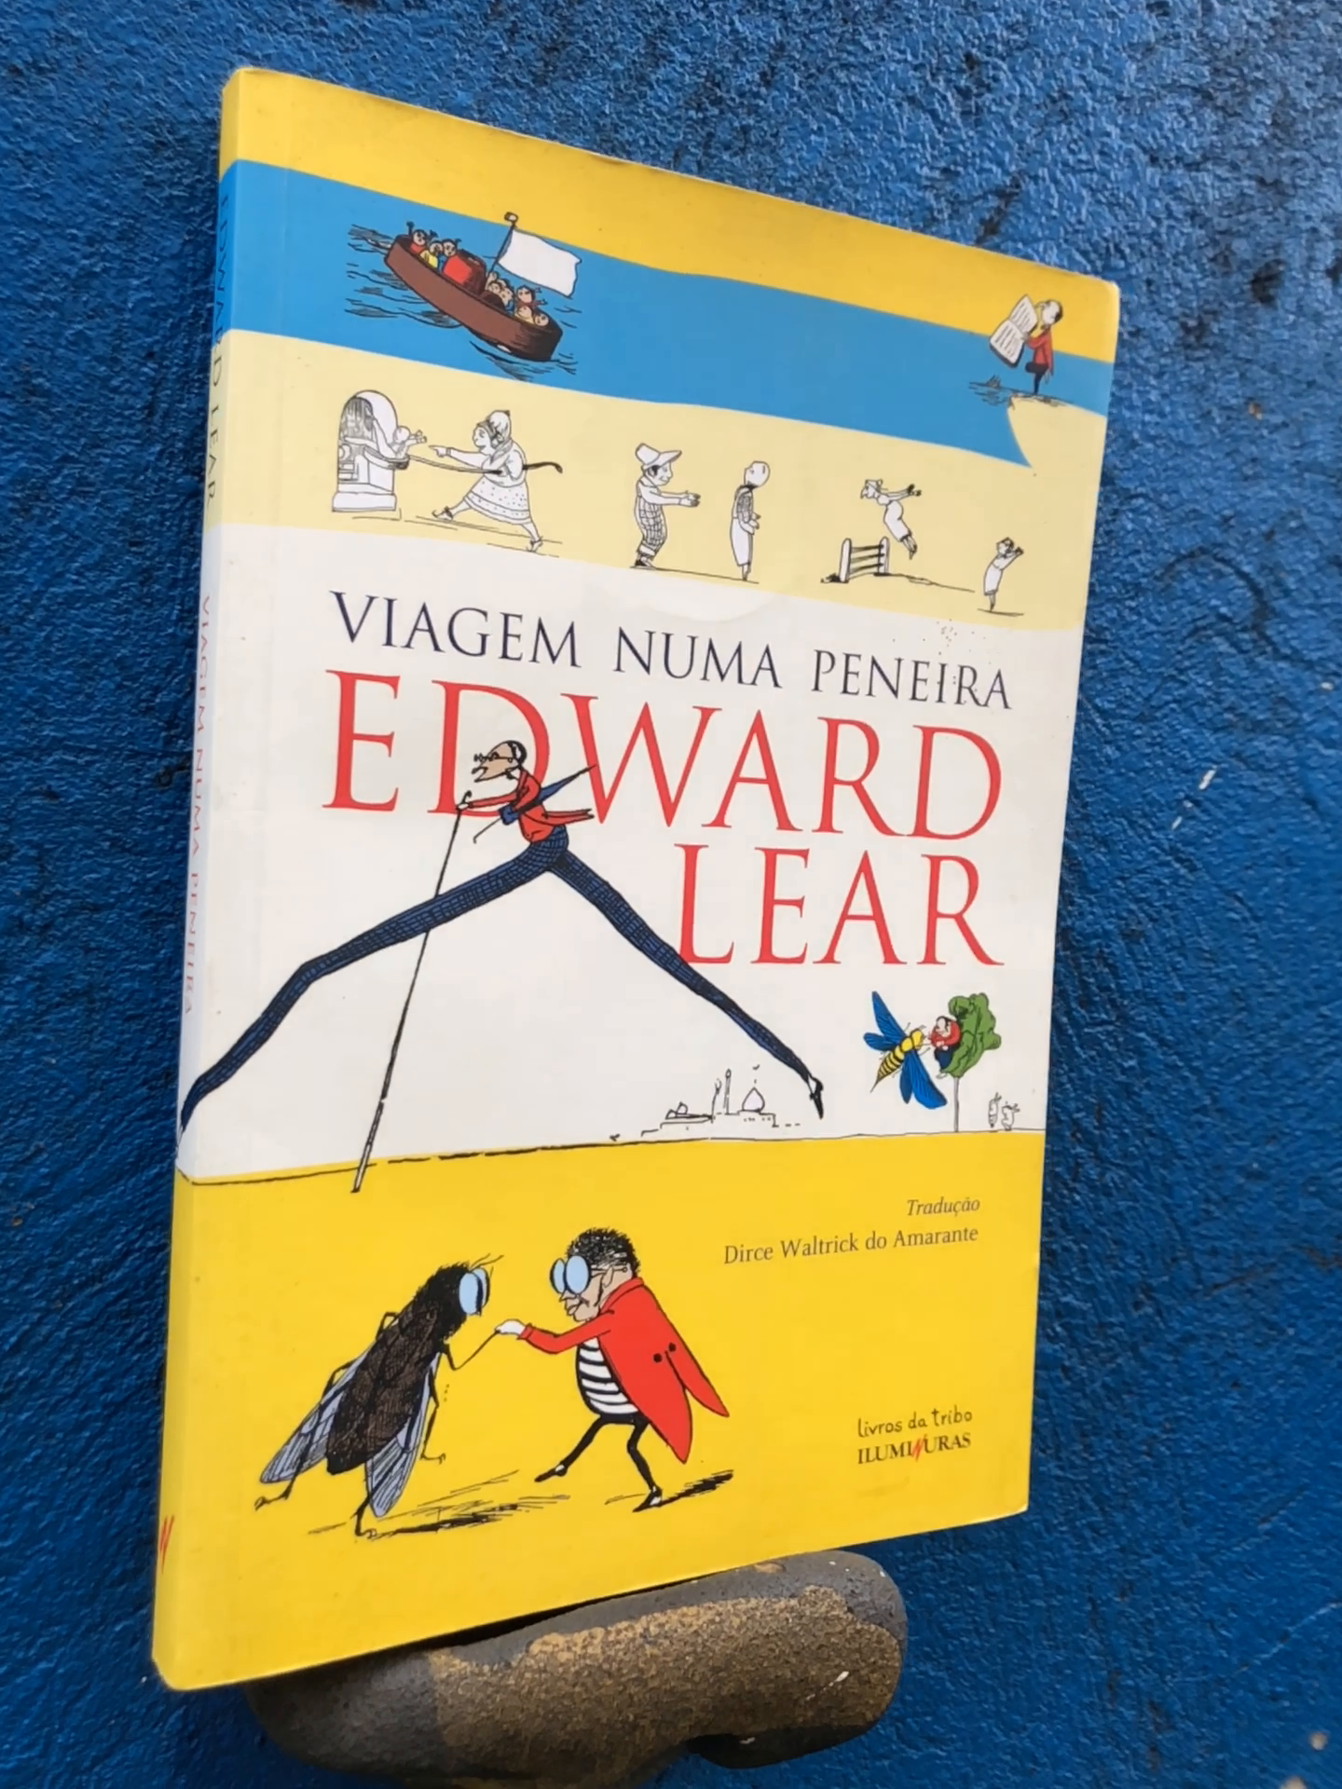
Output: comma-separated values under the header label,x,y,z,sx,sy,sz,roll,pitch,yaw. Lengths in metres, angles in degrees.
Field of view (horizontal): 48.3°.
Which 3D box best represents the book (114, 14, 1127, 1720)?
label,x,y,z,sx,sy,sz,roll,pitch,yaw
book,0.001,0.000,0.240,0.158,0.220,0.021,2,2,-29
